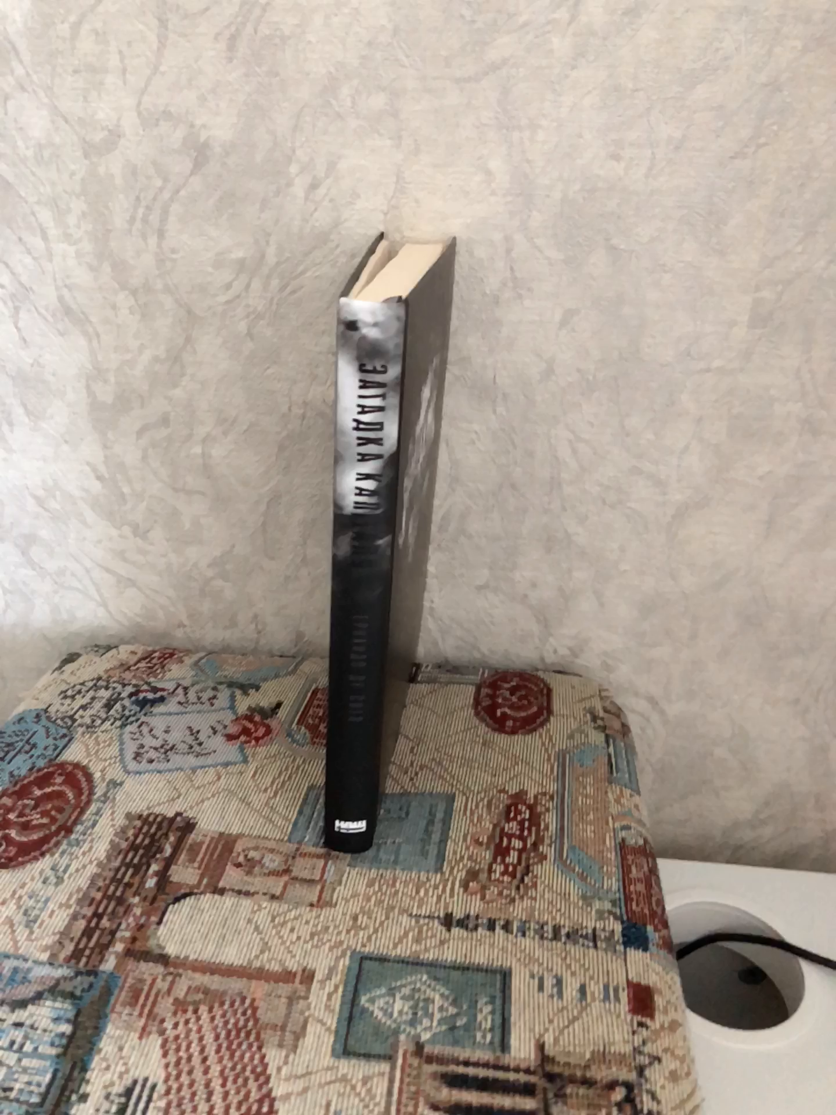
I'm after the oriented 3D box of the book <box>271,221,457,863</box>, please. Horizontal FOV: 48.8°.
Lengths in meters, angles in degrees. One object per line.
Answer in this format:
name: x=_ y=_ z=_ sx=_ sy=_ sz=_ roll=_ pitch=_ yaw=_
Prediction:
book: x=-0.016 y=-0.011 z=0.351 sx=0.035 sy=0.200 sz=0.138 roll=6 pitch=29 yaw=6
